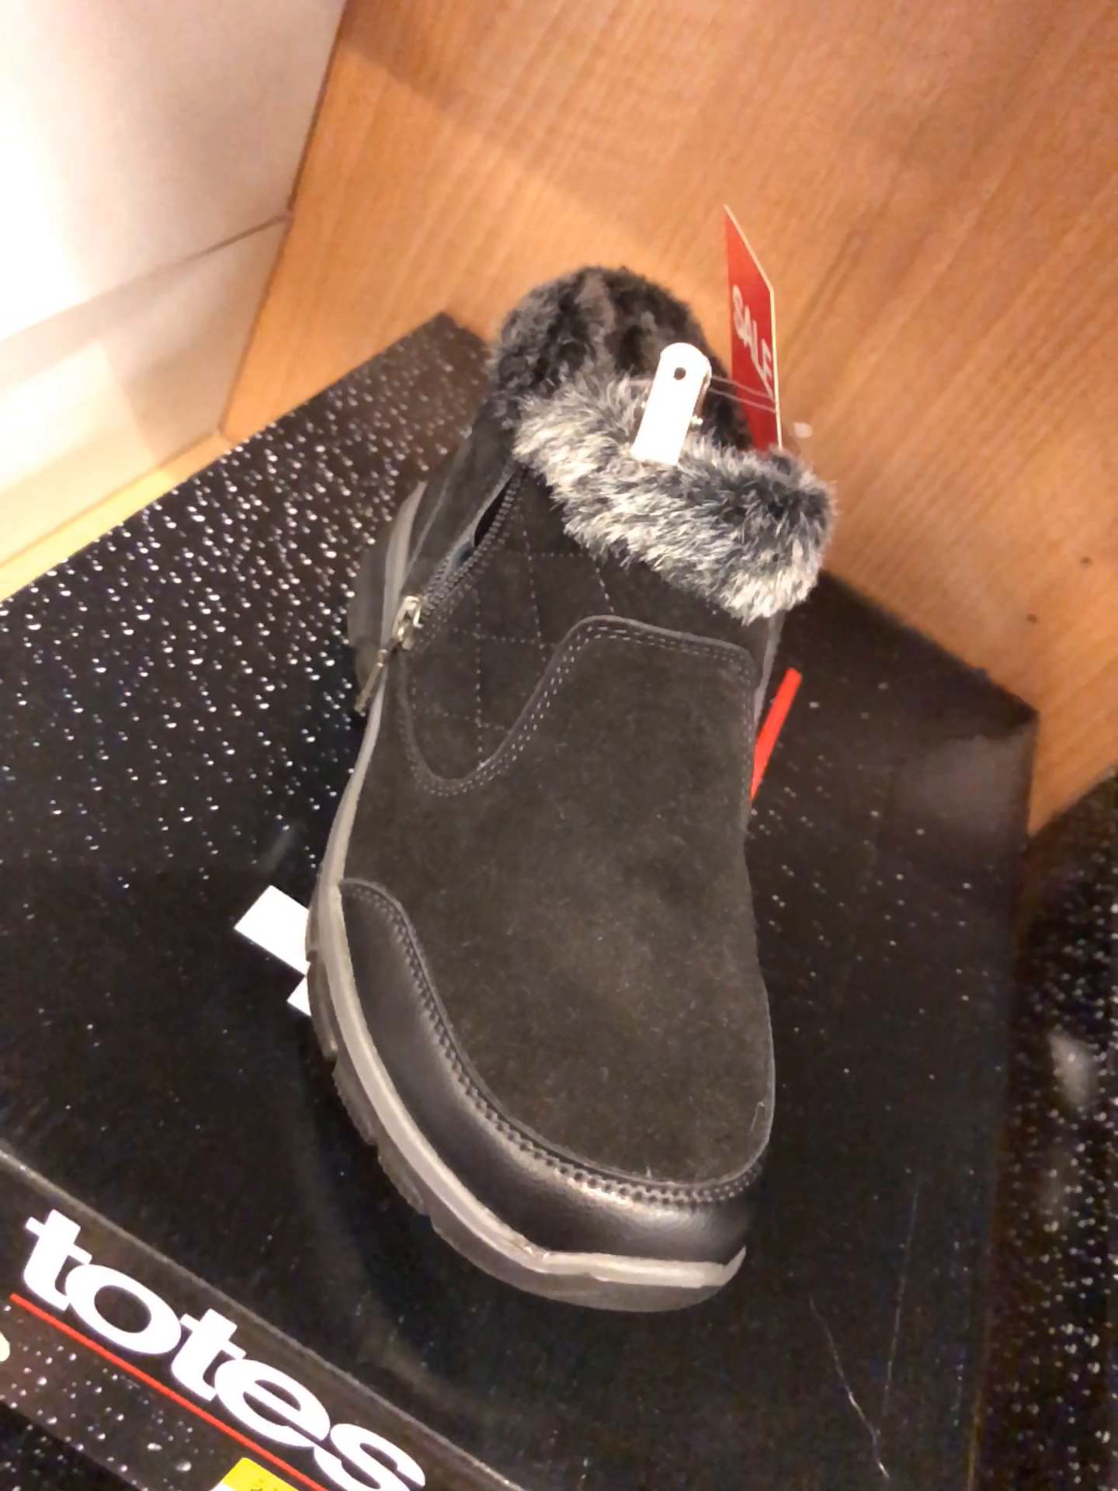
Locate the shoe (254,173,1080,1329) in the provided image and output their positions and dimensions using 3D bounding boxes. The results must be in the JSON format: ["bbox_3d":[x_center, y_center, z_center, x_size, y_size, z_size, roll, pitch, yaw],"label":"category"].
[{"bbox_3d":[-0.002,-0.010,0.301,0.105,0.112,0.250,13,44,-24],"label":"shoe"}]
